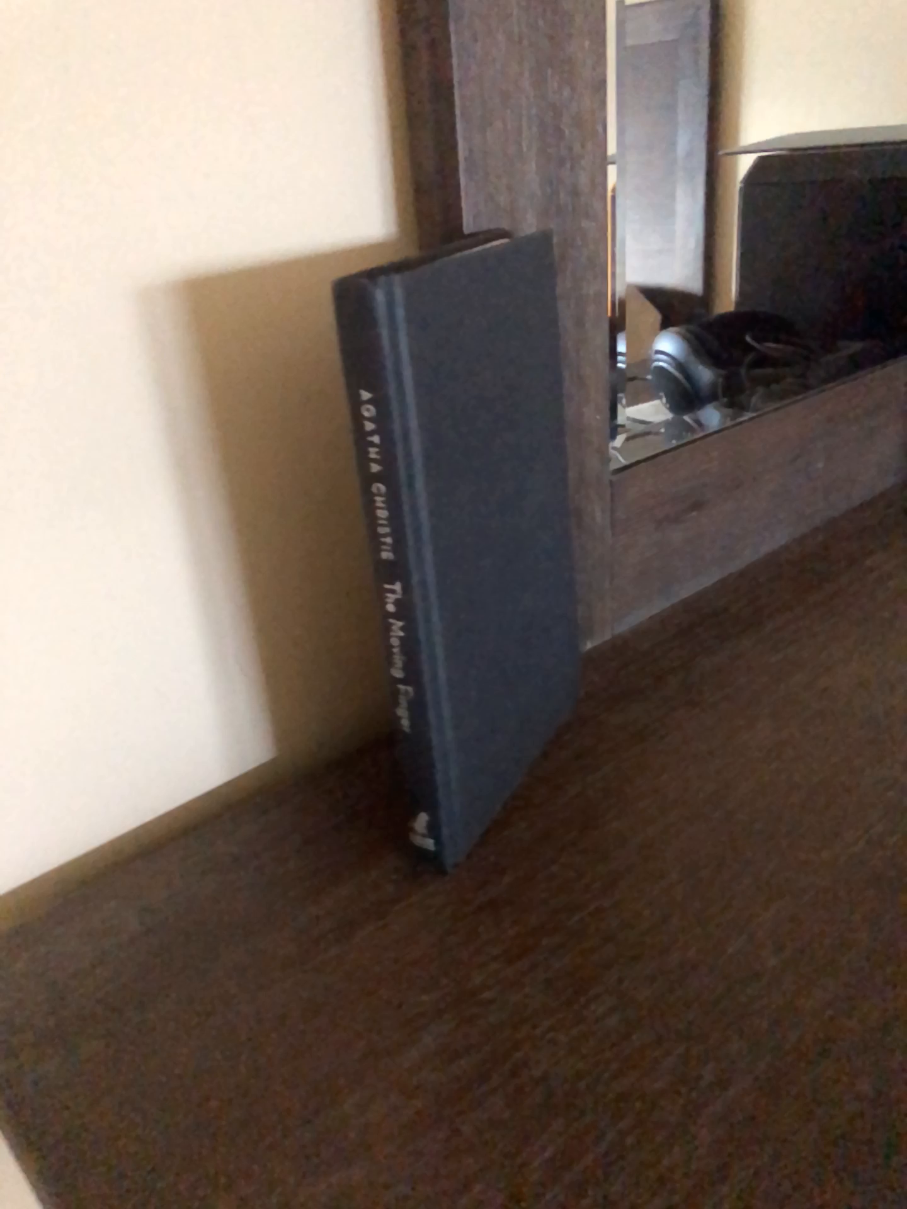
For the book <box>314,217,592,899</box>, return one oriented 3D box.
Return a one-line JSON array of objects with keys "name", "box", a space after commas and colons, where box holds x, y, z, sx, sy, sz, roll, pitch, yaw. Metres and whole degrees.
[{"name": "book", "box": [0.014, -0.025, 0.399, 0.028, 0.229, 0.151, 7, 27, 26]}]
